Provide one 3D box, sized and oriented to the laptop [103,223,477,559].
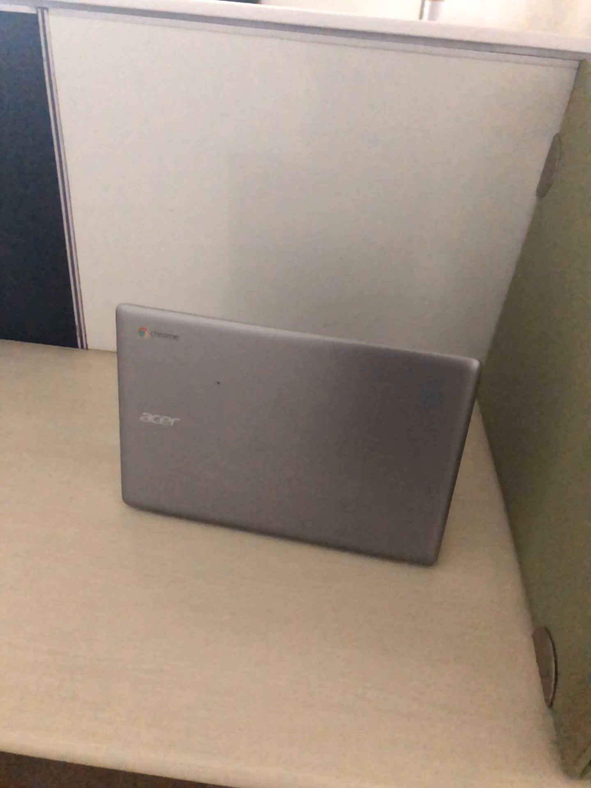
[{"bbox_3d":[0.008,-0.014,0.697,0.321,0.218,0.222,11,34,5],"label":"laptop"}]
